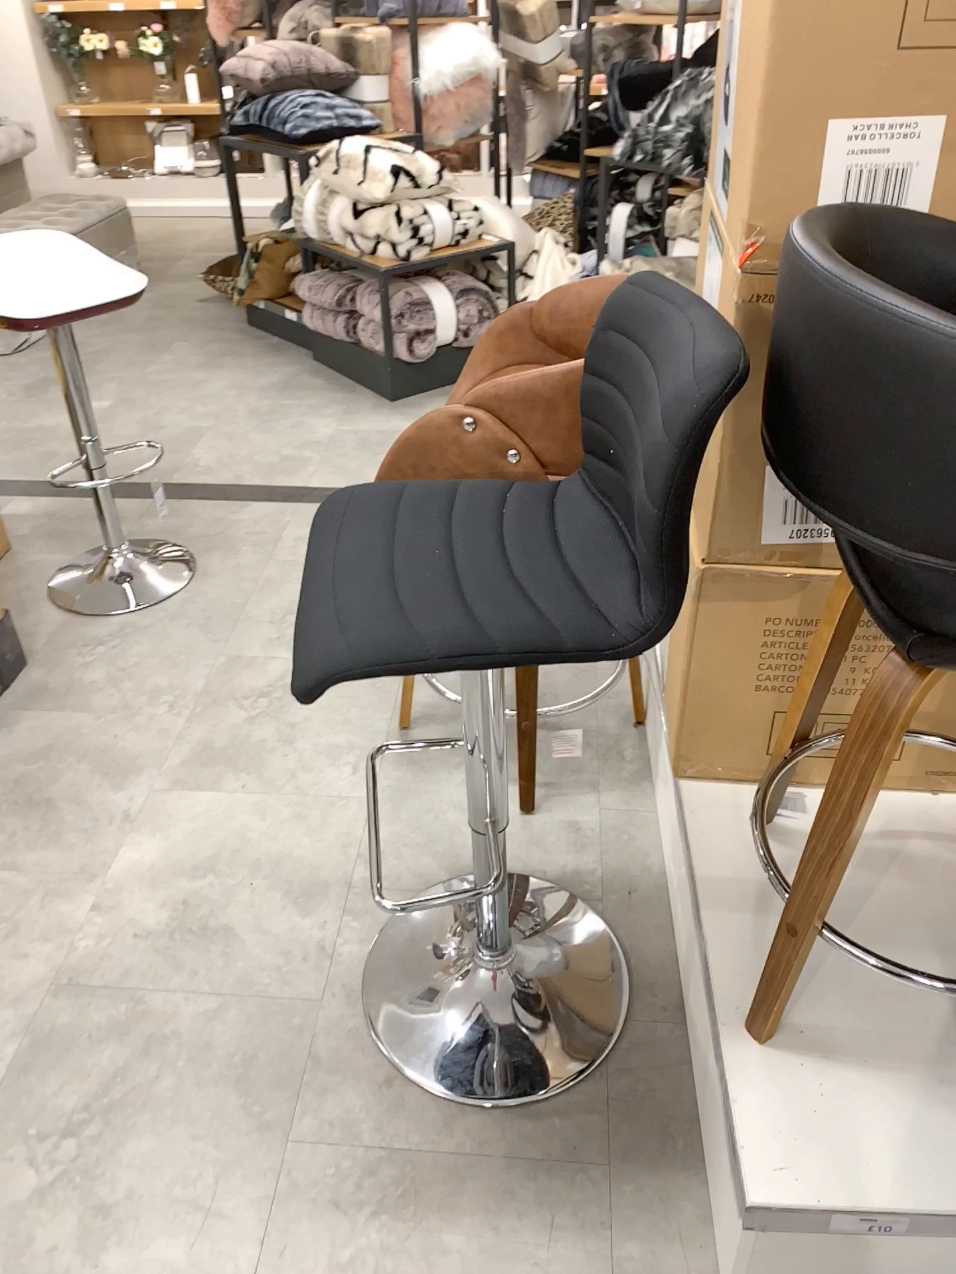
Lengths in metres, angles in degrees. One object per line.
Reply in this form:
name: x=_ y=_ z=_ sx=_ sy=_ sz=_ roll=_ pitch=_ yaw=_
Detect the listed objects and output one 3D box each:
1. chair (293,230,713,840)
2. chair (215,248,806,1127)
chair: x=0.078 y=-0.191 z=1.739 sx=0.518 sy=0.875 sz=0.528 roll=9 pitch=36 yaw=15
chair: x=0.018 y=0.097 z=1.231 sx=0.468 sy=0.994 sz=0.458 roll=-4 pitch=34 yaw=-4
